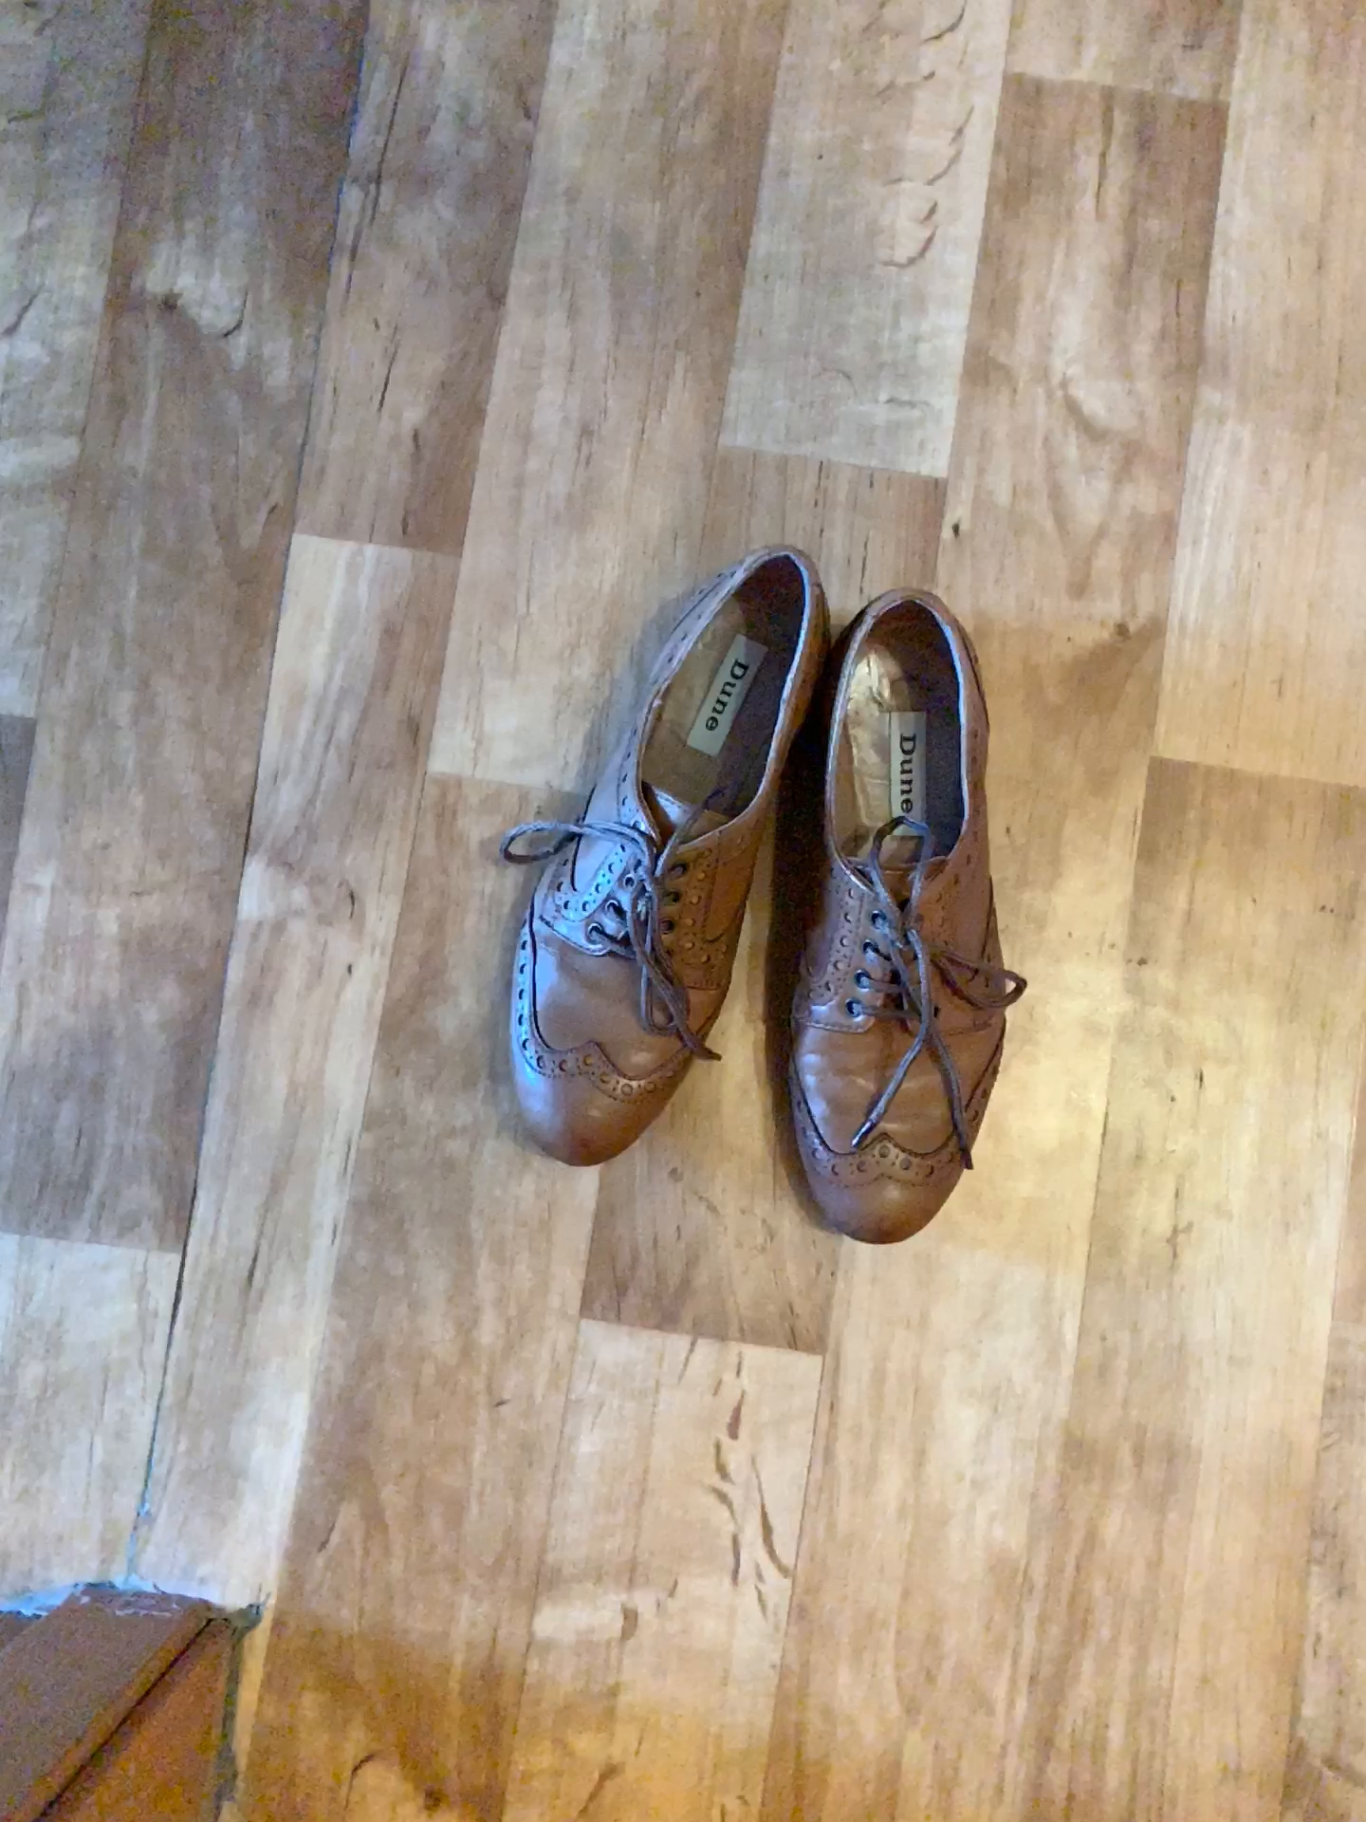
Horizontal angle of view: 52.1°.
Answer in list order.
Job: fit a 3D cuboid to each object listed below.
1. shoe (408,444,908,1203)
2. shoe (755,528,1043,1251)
[{"bbox_3d":[-0.006,-0.026,0.526,0.090,0.120,0.240,20,85,3],"label":"shoe"},{"bbox_3d":[0.073,-0.004,0.508,0.080,0.120,0.230,3,84,1],"label":"shoe"}]
